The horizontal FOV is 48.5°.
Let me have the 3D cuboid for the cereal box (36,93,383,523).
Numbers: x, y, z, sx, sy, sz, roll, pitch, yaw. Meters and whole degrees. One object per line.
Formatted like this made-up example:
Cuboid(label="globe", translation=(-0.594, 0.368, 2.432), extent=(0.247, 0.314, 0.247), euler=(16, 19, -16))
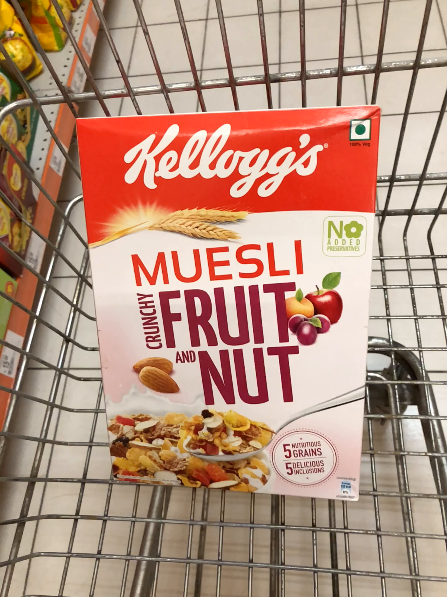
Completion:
Cuboid(label="cereal box", translation=(-0.004, 0.010, 0.342), extent=(0.190, 0.070, 0.269), euler=(2, 109, 9))
